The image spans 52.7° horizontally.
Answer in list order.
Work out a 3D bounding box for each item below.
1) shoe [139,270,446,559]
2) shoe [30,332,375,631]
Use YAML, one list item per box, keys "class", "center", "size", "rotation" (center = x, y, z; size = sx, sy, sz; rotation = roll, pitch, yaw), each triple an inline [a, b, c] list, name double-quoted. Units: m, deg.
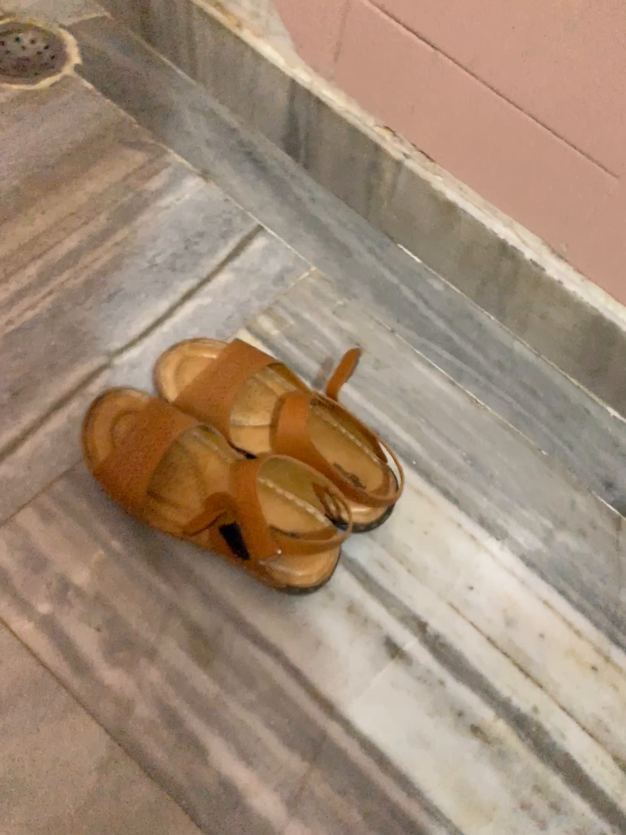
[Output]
- class: "shoe"
  center: [-0.025, 0.000, 0.558]
  size: [0.250, 0.100, 0.090]
  rotation: [38, 64, 8]
- class: "shoe"
  center: [-0.091, 0.056, 0.523]
  size: [0.256, 0.100, 0.090]
  rotation: [34, 64, 6]
